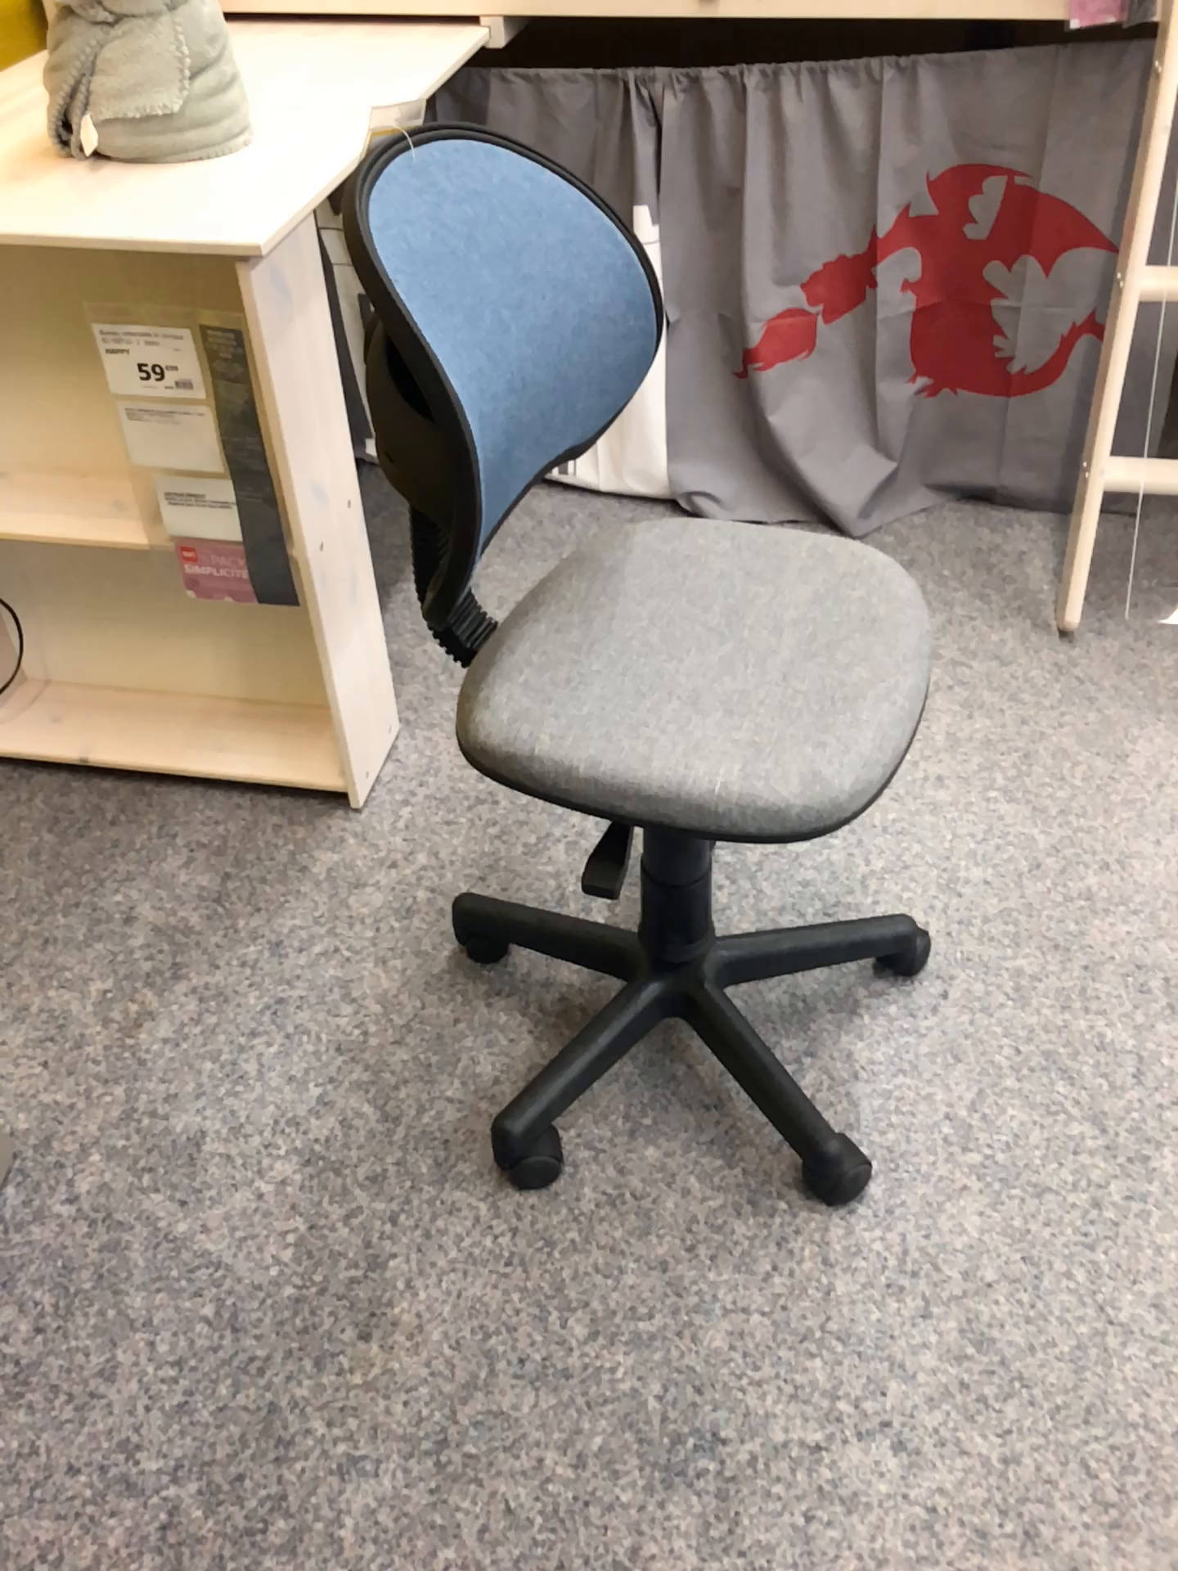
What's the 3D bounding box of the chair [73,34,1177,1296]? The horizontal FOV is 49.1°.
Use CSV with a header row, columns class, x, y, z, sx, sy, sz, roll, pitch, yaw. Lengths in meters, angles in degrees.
class,x,y,z,sx,sy,sz,roll,pitch,yaw
chair,0.104,-0.121,1.054,0.560,0.746,0.604,10,42,14
